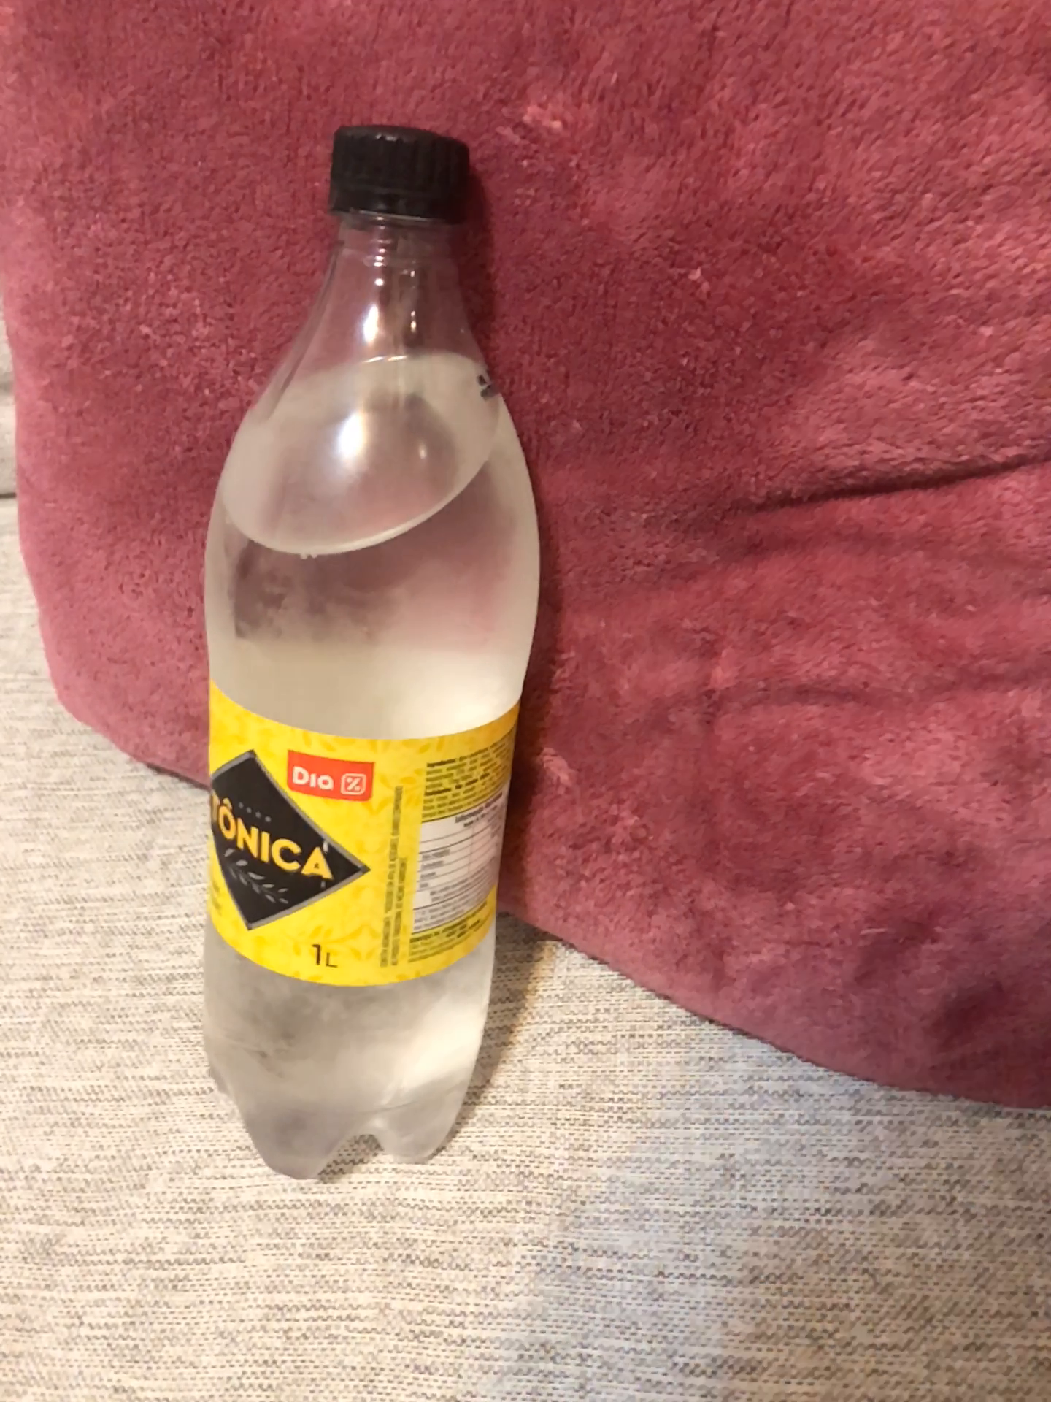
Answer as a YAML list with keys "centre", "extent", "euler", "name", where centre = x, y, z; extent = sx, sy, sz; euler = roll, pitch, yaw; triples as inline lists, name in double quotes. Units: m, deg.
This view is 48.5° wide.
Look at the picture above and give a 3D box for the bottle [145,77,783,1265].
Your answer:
- centre: [-0.024, -0.005, 0.310]
  extent: [0.100, 0.269, 0.100]
  euler: [6, 25, -3]
  name: "bottle"
